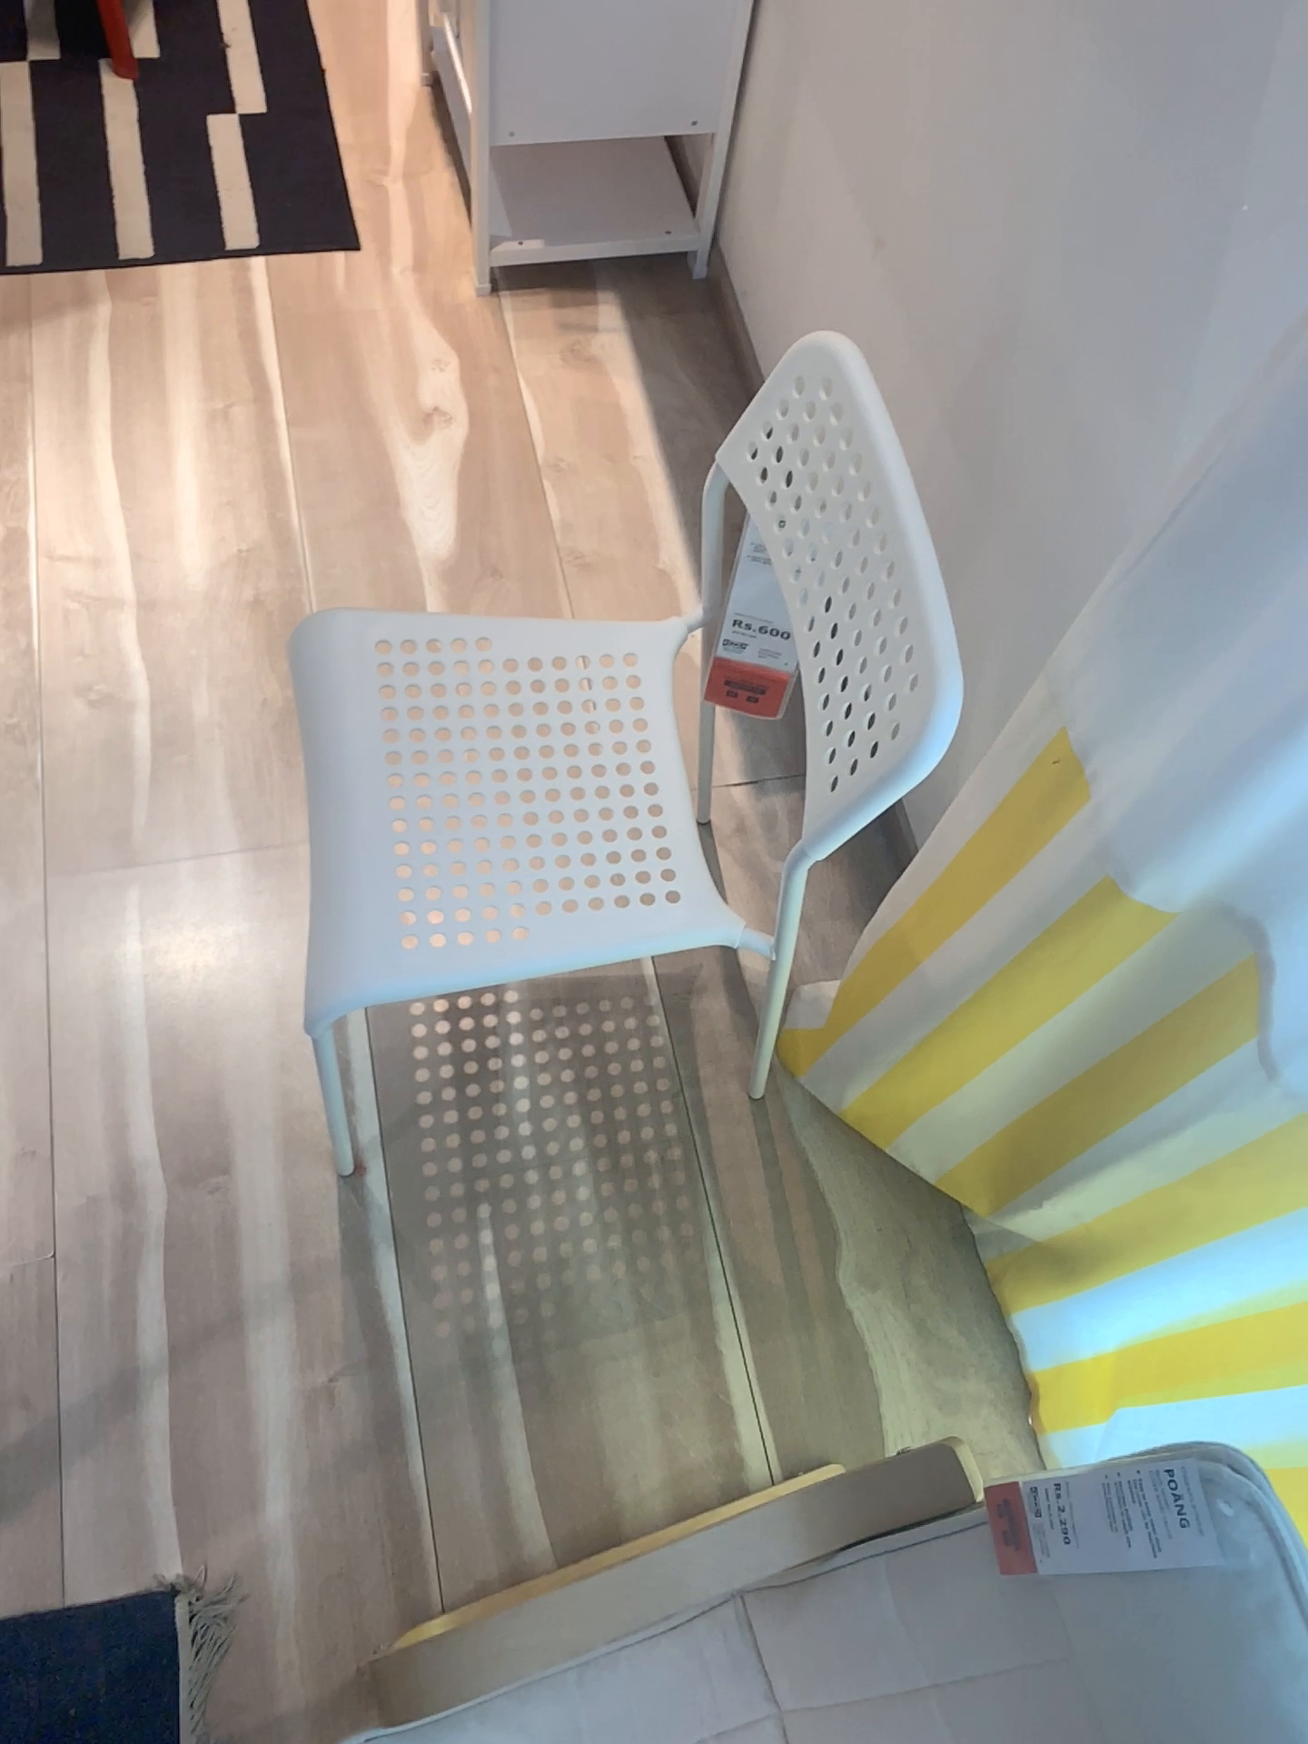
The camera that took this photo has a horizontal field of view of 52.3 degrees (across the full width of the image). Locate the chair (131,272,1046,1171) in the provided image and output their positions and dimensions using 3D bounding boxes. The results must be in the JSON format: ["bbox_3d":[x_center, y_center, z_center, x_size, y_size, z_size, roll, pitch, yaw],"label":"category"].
[{"bbox_3d":[-0.094,-0.079,1.154,0.530,0.659,0.440,-6,64,-10],"label":"chair"}]
